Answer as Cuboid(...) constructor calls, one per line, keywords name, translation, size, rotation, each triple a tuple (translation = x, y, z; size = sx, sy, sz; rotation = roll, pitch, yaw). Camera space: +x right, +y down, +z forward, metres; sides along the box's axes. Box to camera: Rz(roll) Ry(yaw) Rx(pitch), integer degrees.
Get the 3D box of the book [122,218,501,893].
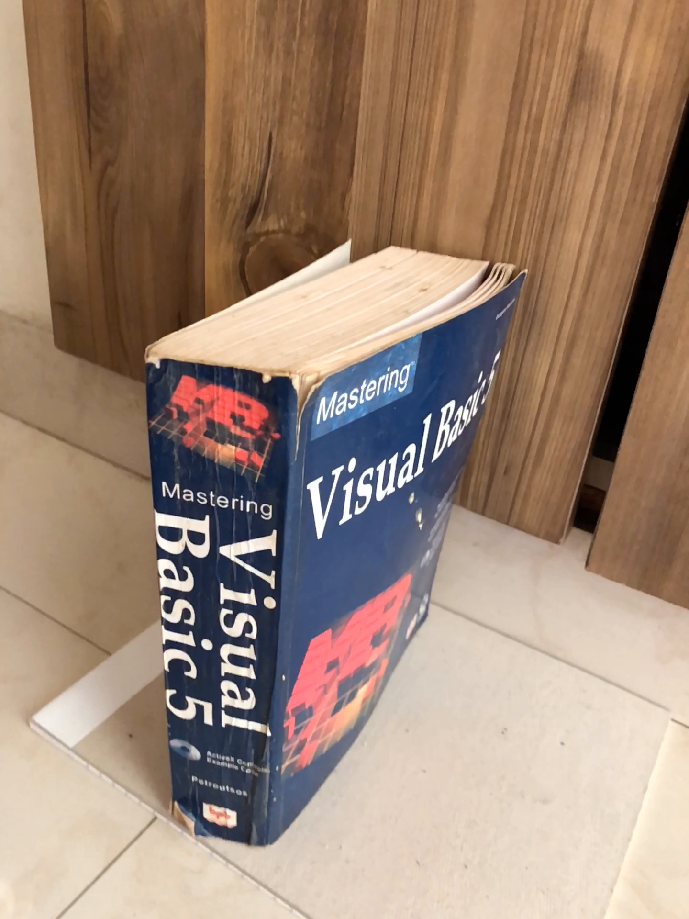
Cuboid(name="book", translation=(-0.001, 0.031, 0.374), size=(0.060, 0.249, 0.211), rotation=(16, 31, 23))
